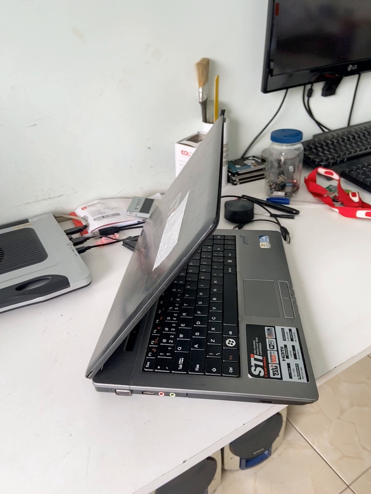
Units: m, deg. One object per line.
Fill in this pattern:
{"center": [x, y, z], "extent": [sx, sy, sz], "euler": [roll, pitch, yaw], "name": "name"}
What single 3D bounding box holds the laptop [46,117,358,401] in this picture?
{"center": [0.029, -0.022, 0.492], "extent": [0.241, 0.200, 0.344], "euler": [2, 32, 5], "name": "laptop"}
